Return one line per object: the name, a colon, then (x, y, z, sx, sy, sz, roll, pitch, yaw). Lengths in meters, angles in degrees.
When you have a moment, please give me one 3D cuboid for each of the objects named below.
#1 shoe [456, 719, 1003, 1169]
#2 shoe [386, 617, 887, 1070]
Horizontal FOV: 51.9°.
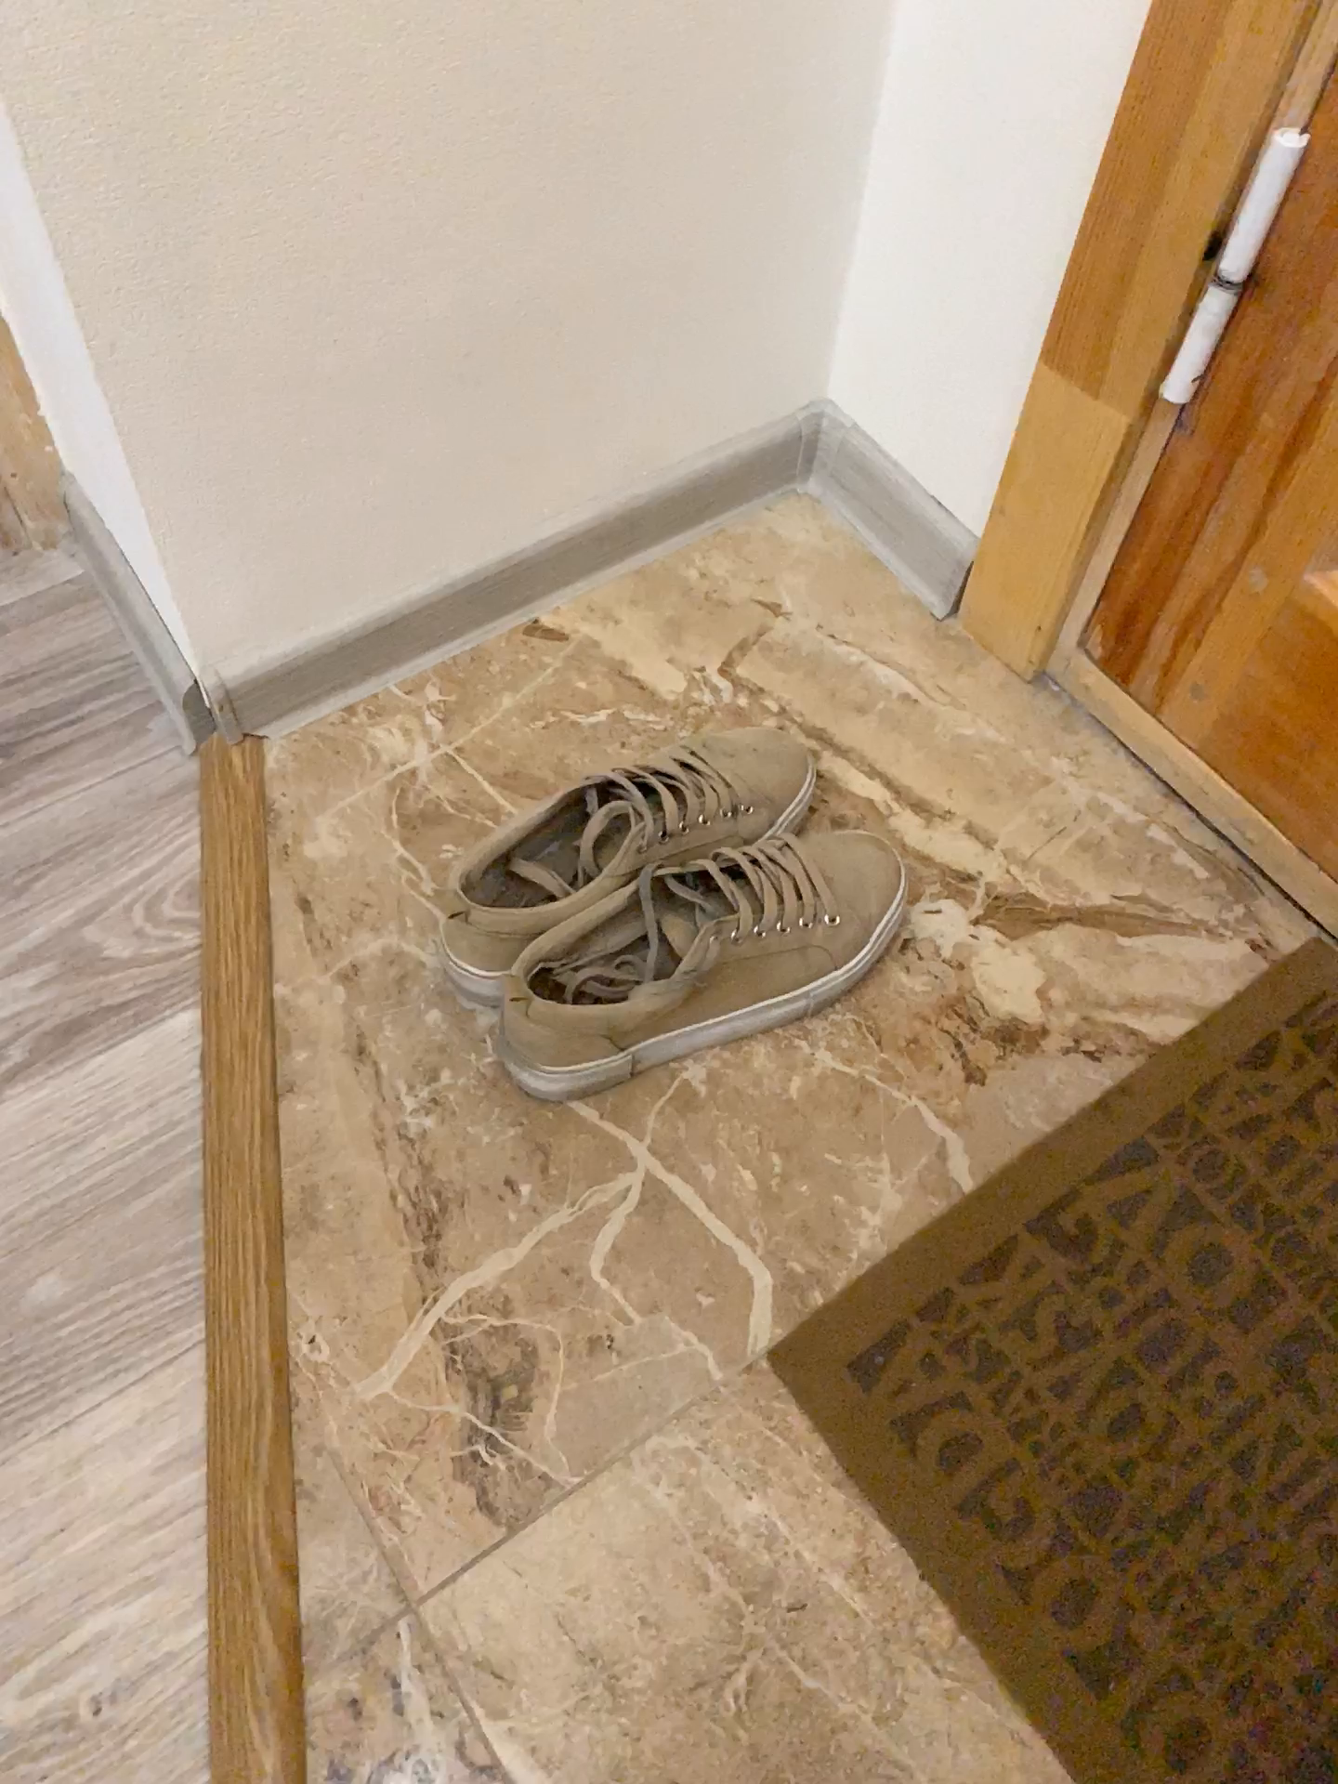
shoe: (0.029, 0.023, 0.671, 0.240, 0.100, 0.090, -25, 62, -19)
shoe: (-0.013, -0.029, 0.713, 0.240, 0.100, 0.090, -33, 65, -22)
